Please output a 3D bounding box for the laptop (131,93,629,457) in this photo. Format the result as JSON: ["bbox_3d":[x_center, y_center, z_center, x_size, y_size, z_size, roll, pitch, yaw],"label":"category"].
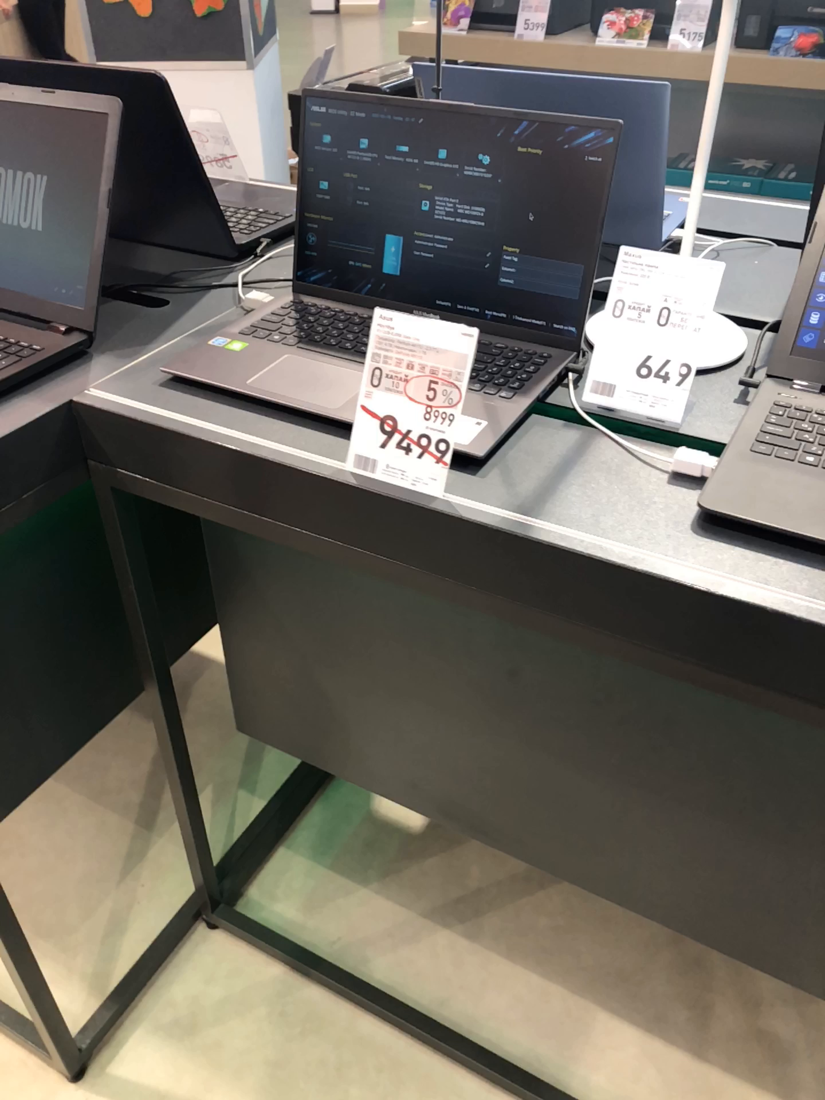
[{"bbox_3d":[-0.023,-0.286,0.866,0.355,0.200,0.288,18,41,26],"label":"laptop"}]
